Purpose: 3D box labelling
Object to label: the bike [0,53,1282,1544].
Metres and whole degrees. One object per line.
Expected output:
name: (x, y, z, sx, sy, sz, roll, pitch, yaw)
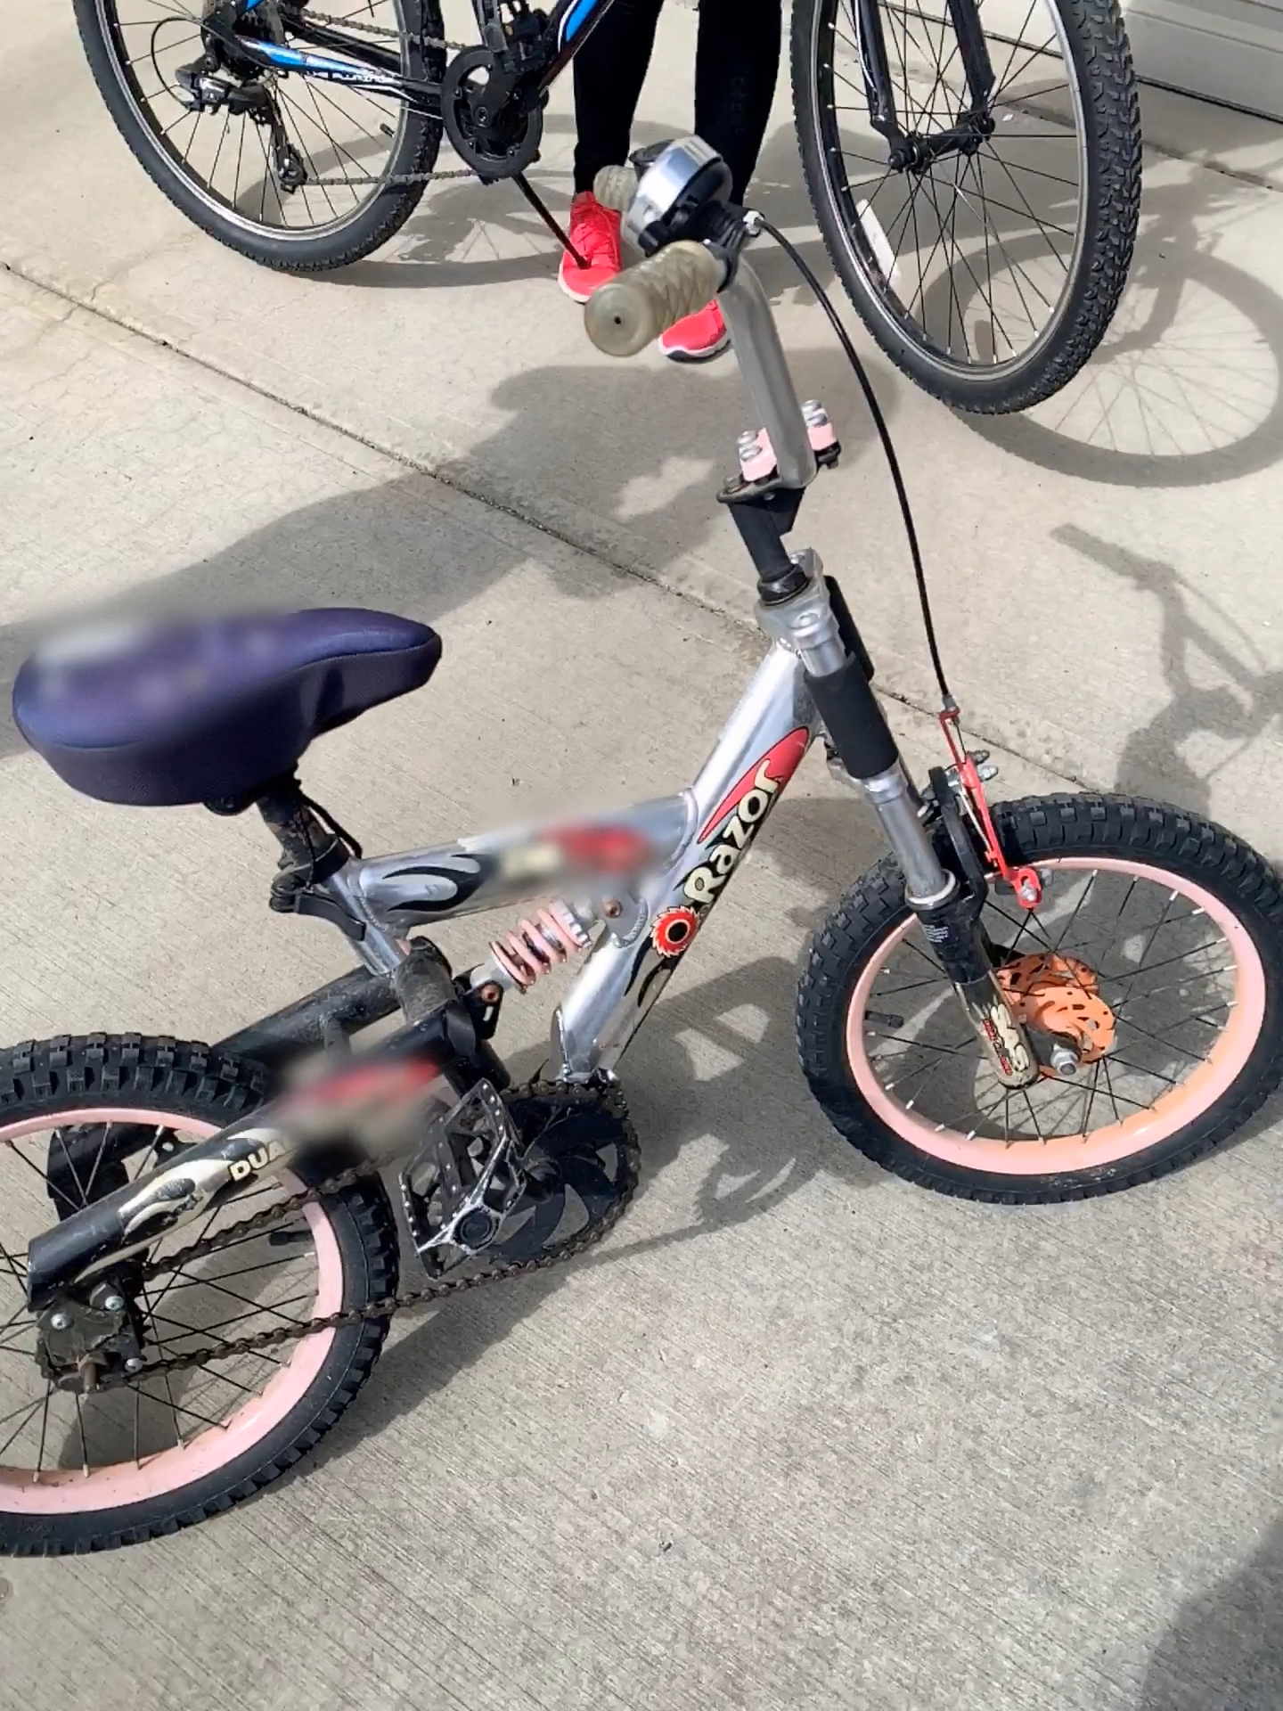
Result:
bike: (-0.028, -0.040, 0.864, 1.123, 0.691, 0.359, -16, 53, -17)
